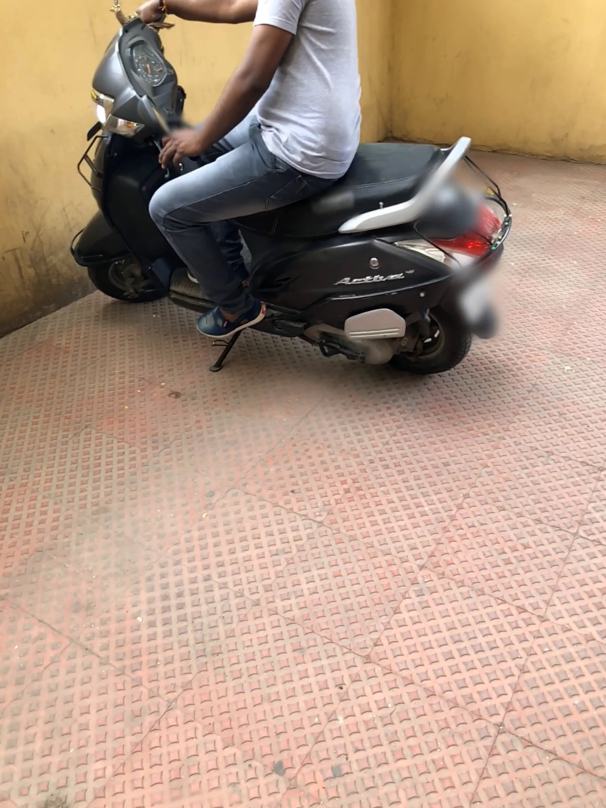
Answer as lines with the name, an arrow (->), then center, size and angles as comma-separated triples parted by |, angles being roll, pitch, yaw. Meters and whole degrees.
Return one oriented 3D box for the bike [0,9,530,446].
bike -> -0.218, -0.625, 2.160 | 1.545, 1.016, 0.697 | 13, 37, 24
